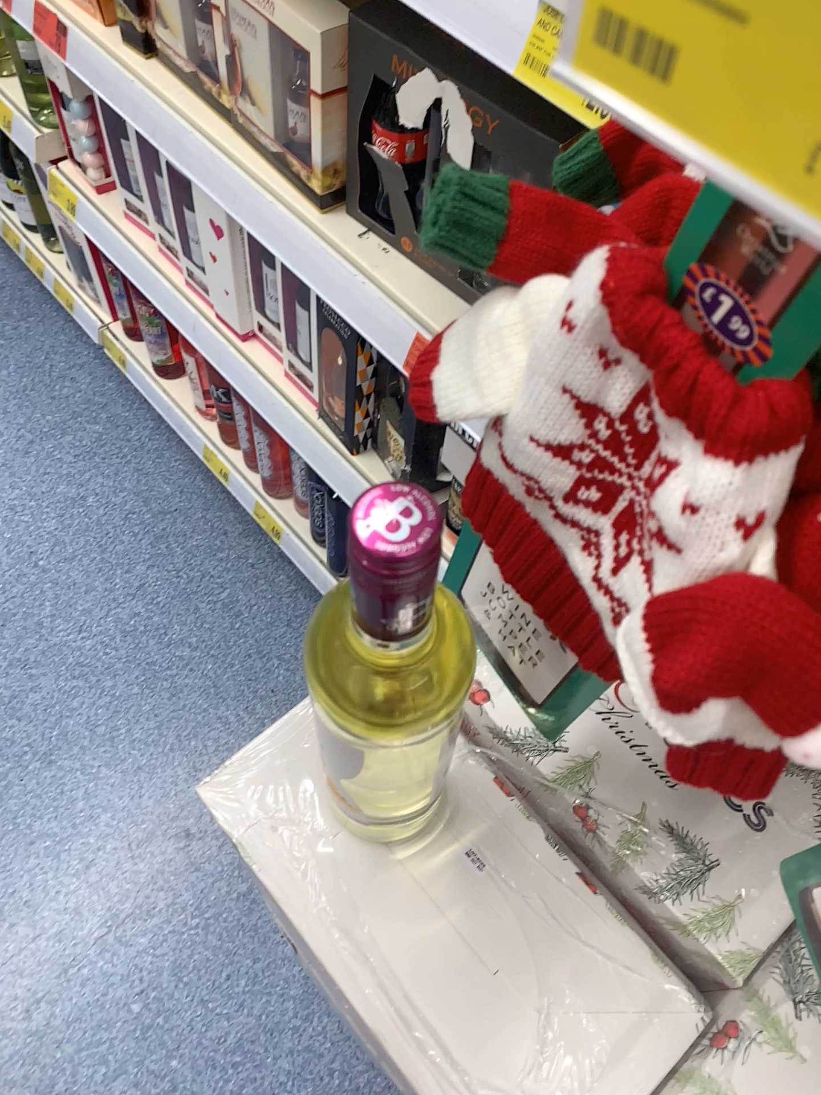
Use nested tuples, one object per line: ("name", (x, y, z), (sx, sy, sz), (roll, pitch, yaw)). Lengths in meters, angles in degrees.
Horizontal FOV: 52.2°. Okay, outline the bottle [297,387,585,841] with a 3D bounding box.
("bottle", (-0.004, 0.057, 0.381), (0.080, 0.289, 0.081), (2, 59, -3))
